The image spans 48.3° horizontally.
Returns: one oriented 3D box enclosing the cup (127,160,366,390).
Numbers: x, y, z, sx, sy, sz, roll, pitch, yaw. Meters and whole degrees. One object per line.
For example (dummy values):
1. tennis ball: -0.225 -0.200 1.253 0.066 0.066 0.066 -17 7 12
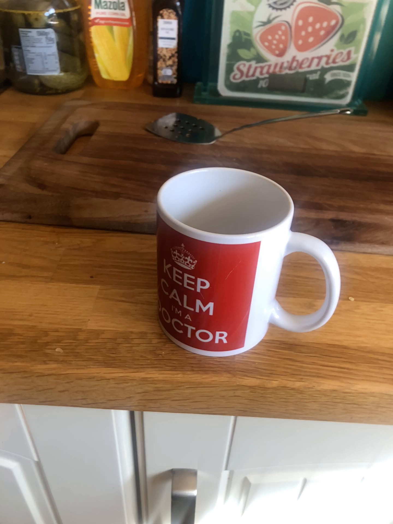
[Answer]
1. cup: 0.030 0.003 0.285 0.123 0.094 0.090 11 35 9
